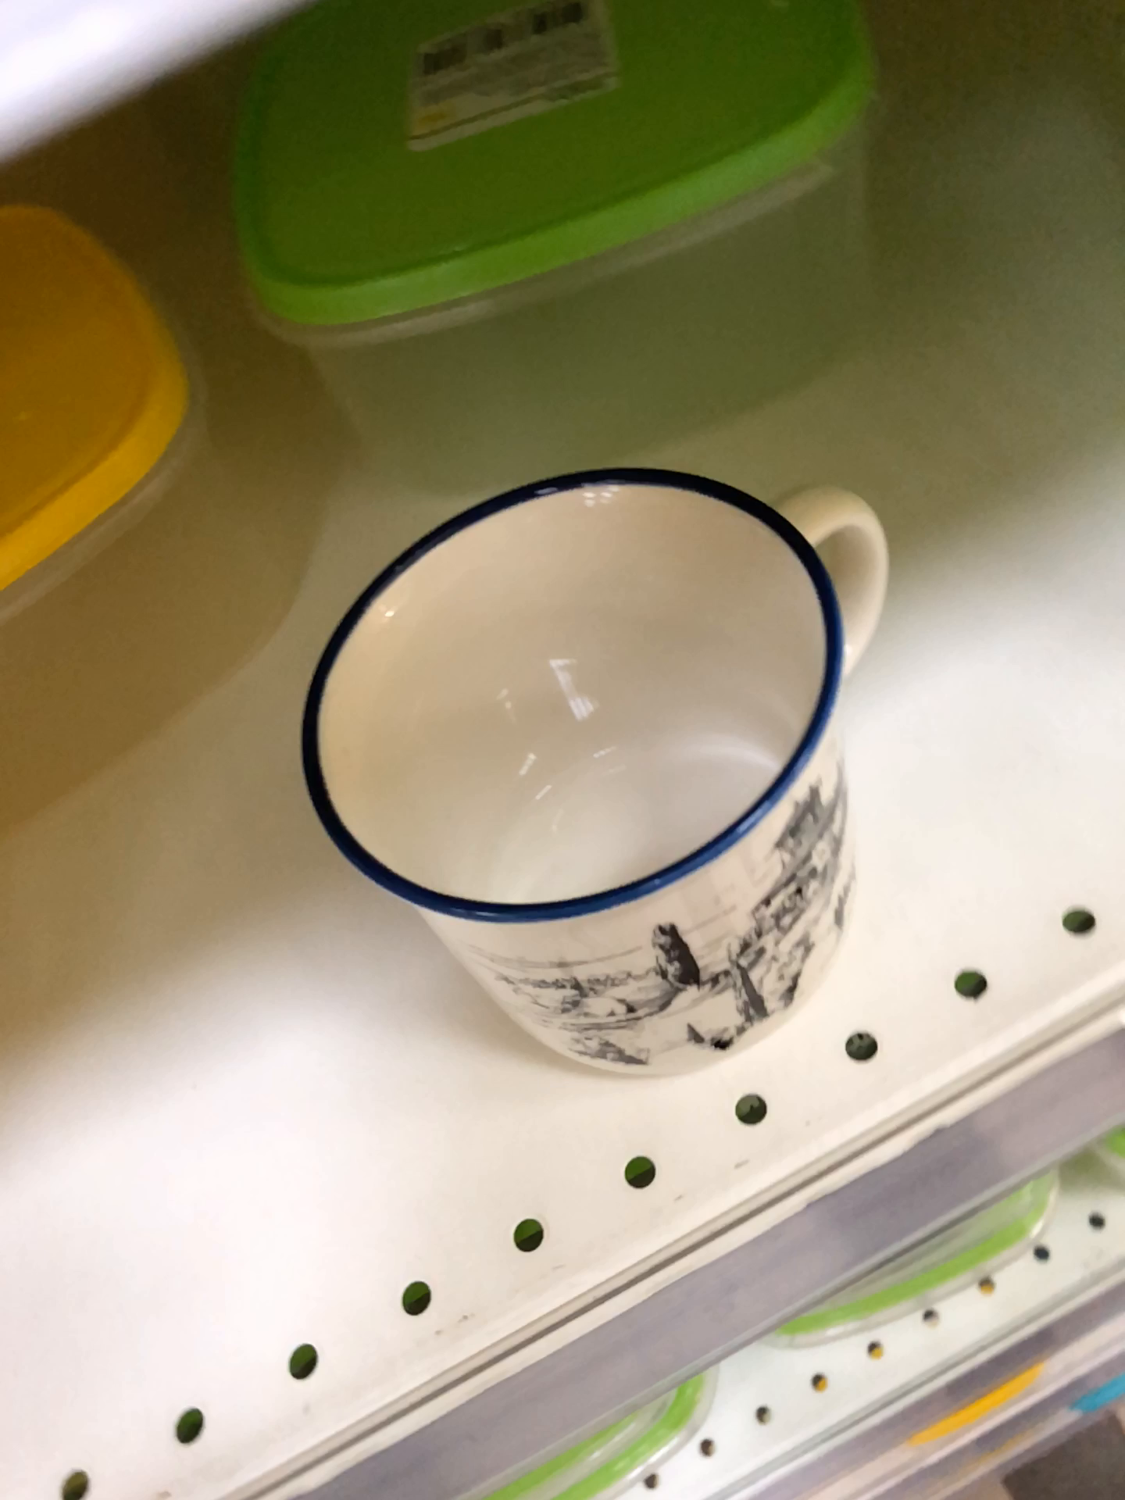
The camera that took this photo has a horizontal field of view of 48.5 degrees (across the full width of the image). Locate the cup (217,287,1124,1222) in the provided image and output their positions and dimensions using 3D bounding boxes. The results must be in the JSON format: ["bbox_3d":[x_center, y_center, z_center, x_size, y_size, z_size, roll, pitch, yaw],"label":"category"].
[{"bbox_3d":[0.025,-0.003,0.234,0.130,0.068,0.103,-36,53,-7],"label":"cup"}]
